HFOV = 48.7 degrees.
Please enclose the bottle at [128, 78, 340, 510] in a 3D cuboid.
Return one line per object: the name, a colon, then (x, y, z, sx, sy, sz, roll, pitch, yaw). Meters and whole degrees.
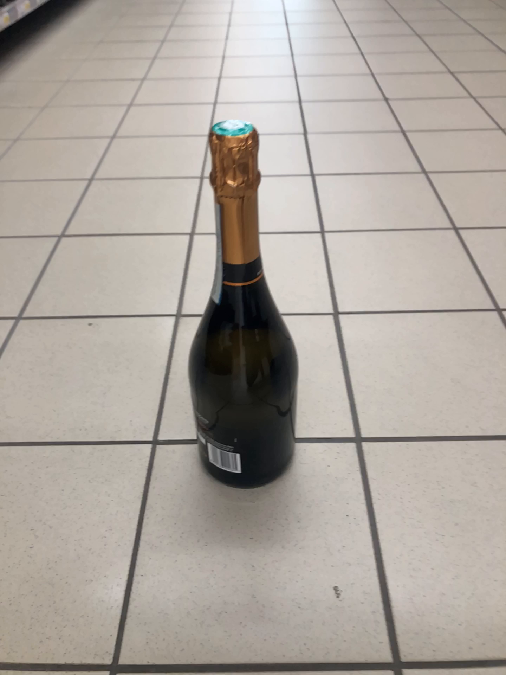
bottle: (-0.011, -0.015, 0.439, 0.090, 0.318, 0.100, -23, 44, -24)
